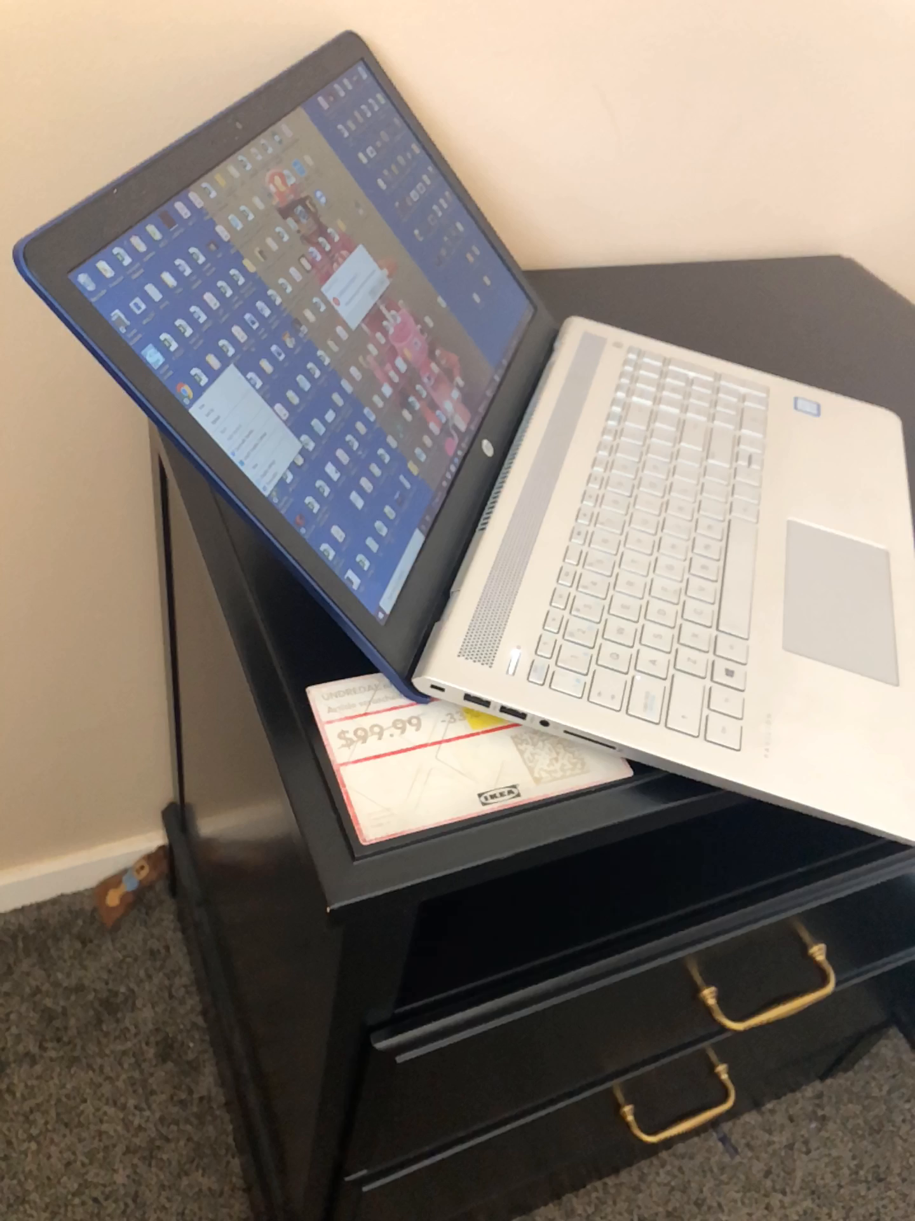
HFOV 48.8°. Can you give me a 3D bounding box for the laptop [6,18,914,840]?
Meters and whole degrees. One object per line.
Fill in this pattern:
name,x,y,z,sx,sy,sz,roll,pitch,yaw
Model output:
laptop,0.068,-0.134,0.522,0.400,0.141,0.368,18,43,4
